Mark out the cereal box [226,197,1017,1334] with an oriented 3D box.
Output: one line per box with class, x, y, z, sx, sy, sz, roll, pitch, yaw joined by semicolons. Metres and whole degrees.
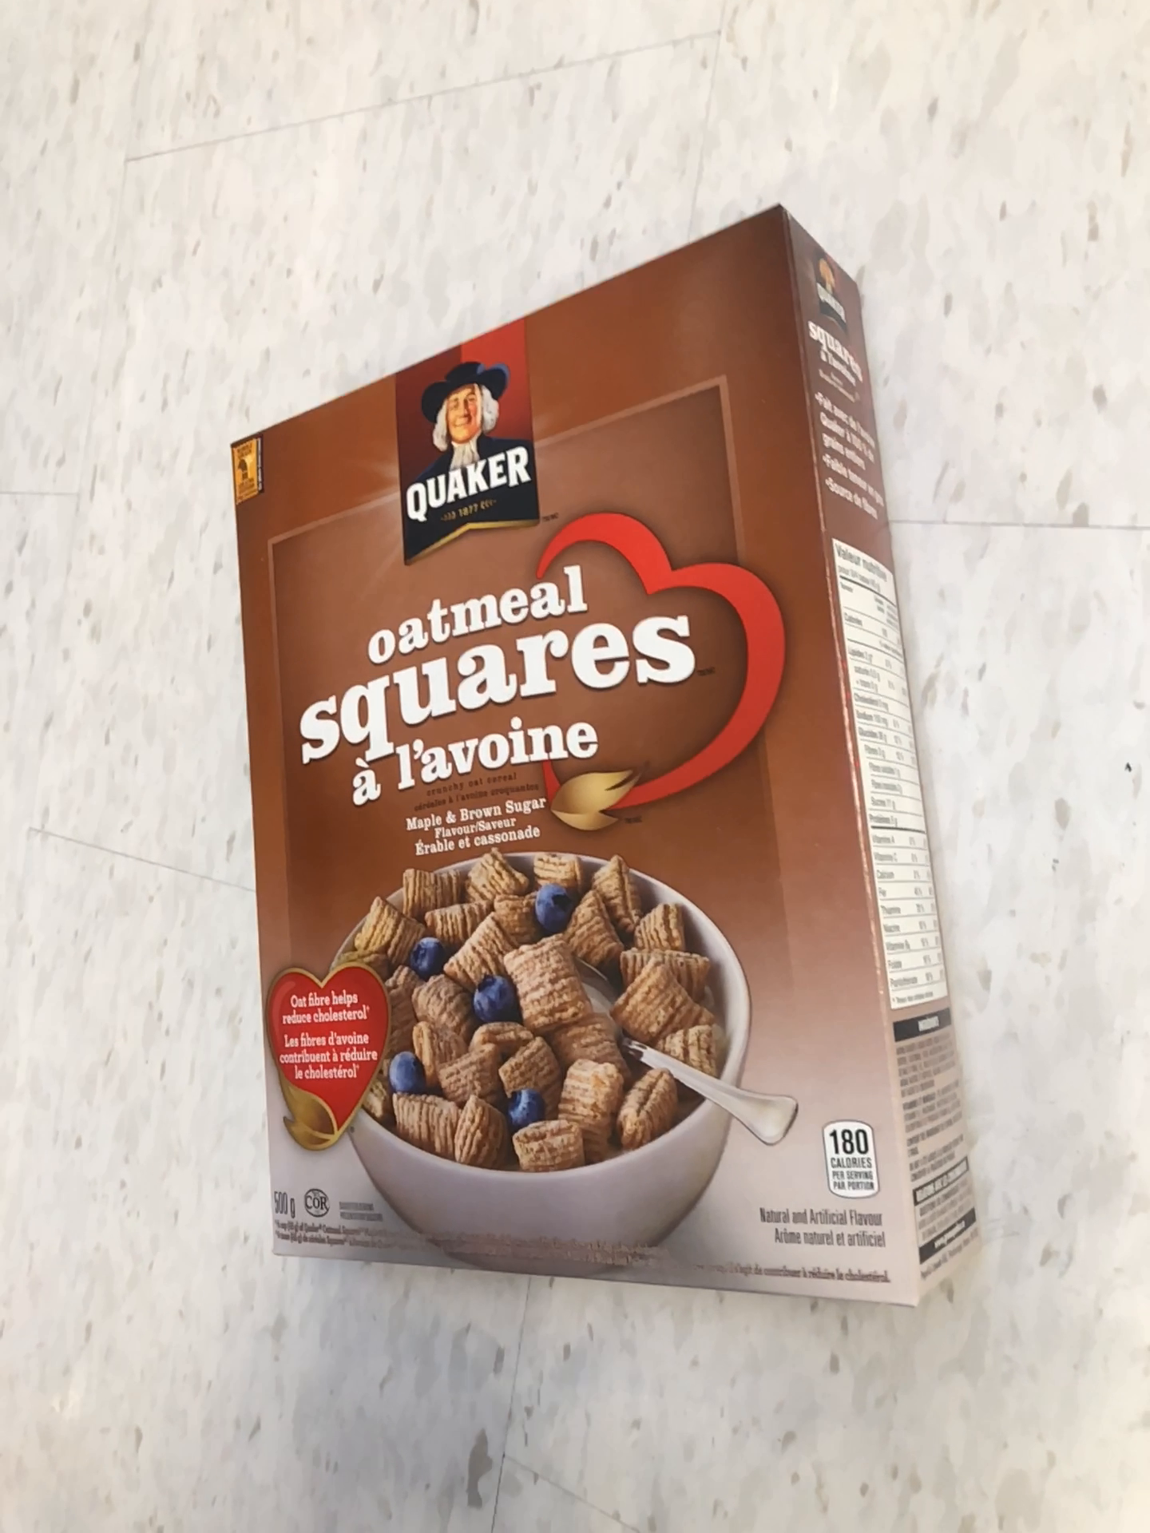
cereal box;-0.002;0.009;0.383;0.211;0.070;0.270;-11;80;33
